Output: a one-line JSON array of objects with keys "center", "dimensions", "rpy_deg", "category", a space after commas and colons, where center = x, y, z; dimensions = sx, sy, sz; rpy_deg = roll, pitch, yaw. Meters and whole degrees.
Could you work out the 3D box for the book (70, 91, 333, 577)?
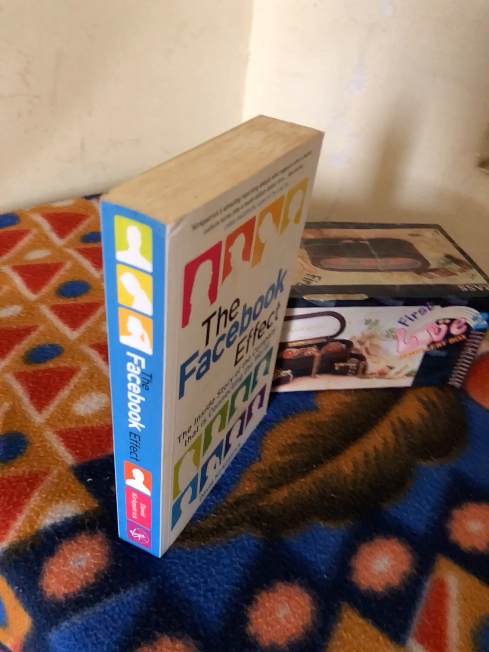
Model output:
[{"center": [-0.015, 0.004, 0.295], "dimensions": [0.040, 0.219, 0.151], "rpy_deg": [20, 38, 19], "category": "book"}]
